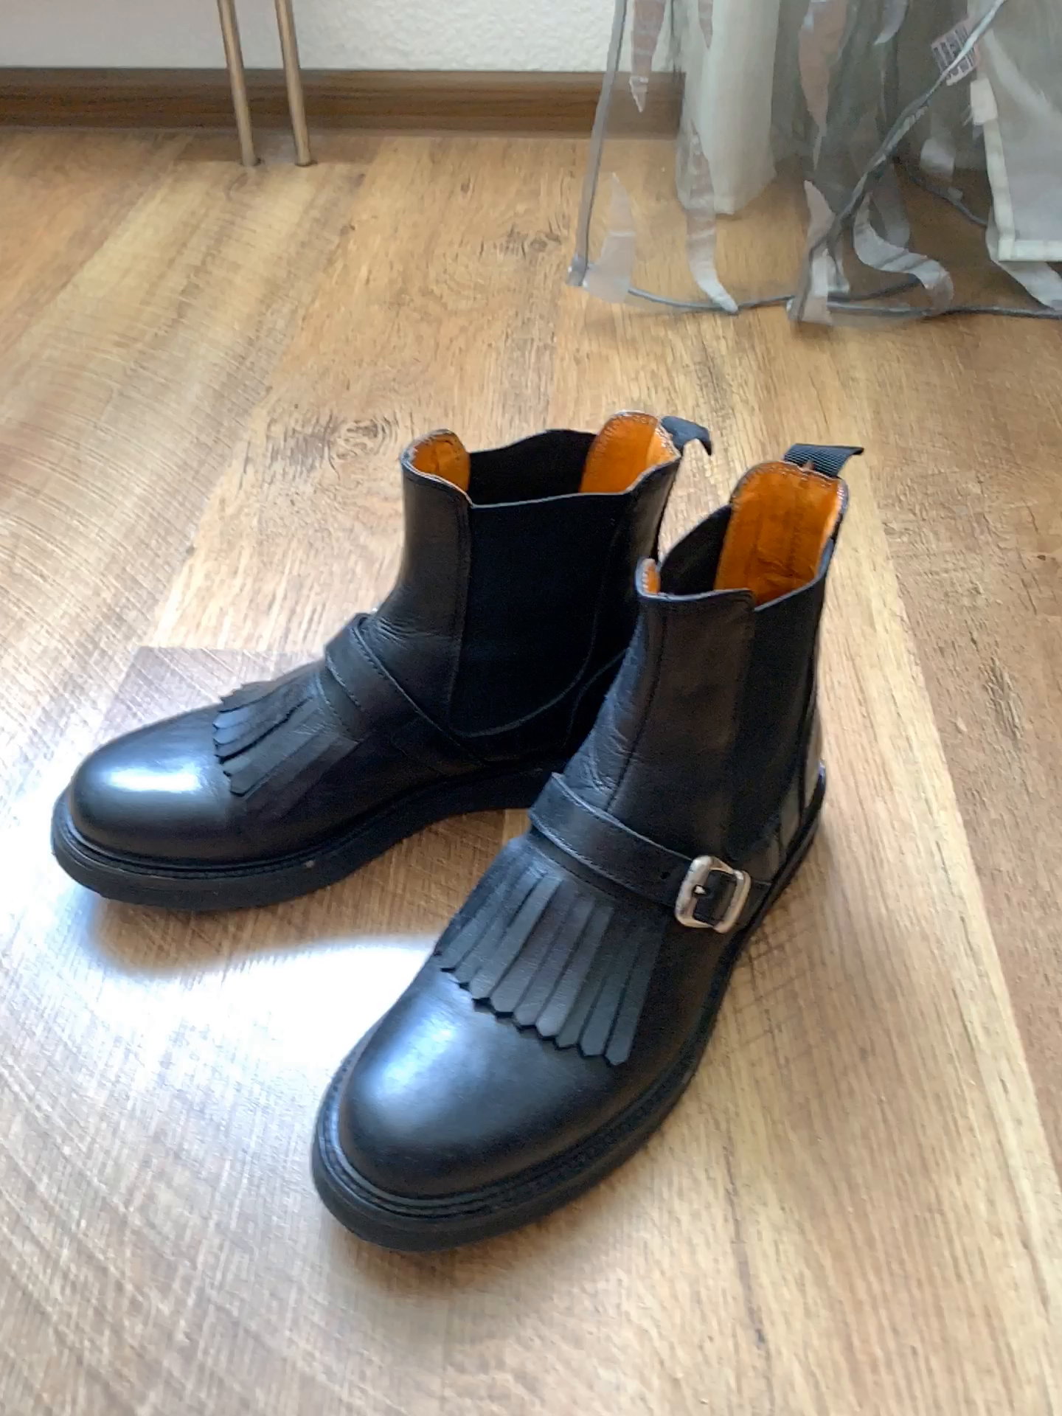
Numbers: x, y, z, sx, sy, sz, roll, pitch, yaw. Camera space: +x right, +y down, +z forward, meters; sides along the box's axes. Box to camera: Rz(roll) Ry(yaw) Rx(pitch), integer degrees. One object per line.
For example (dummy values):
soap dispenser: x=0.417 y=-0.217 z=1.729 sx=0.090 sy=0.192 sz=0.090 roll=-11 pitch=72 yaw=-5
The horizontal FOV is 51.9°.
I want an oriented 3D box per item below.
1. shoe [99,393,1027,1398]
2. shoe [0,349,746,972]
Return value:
shoe: x=0.029 y=0.039 z=0.334 sx=0.100 sy=0.149 sz=0.261 roll=30 pitch=52 yaw=27
shoe: x=-0.066 y=-0.020 z=0.408 sx=0.260 sy=0.151 sz=0.090 roll=-16 pitch=47 yaw=-14
